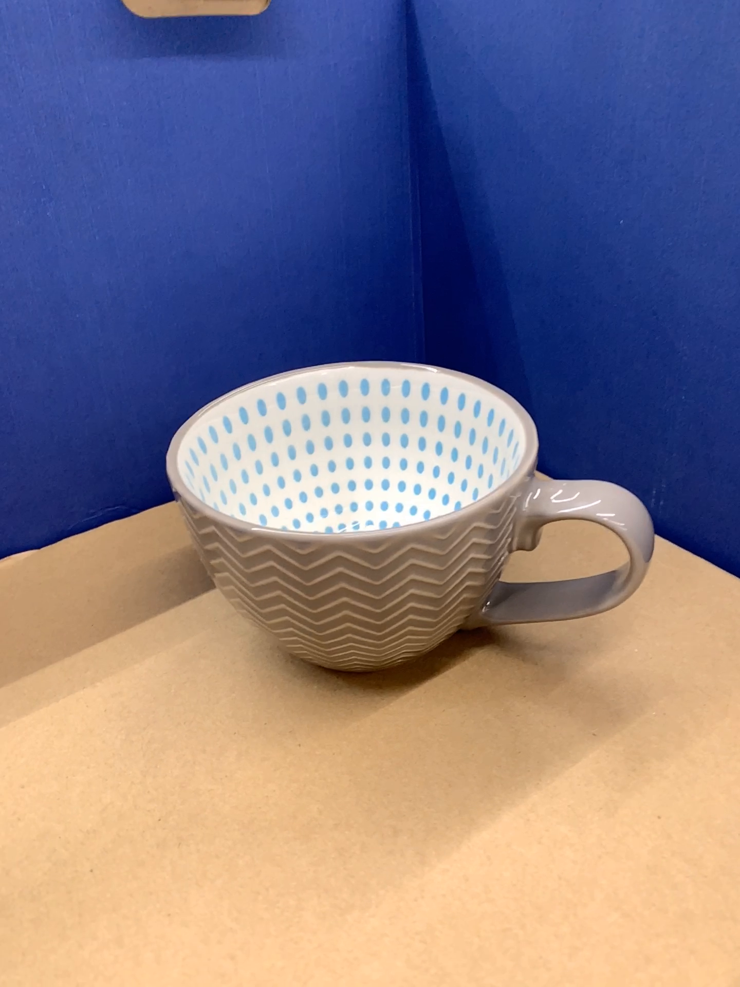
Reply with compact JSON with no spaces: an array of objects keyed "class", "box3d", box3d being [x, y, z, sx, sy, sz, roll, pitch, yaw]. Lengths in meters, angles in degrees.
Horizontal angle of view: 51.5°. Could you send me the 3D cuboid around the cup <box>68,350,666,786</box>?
[{"class":"cup","box3d":[0.011,0.008,0.238,0.143,0.061,0.119,6,31,17]}]
